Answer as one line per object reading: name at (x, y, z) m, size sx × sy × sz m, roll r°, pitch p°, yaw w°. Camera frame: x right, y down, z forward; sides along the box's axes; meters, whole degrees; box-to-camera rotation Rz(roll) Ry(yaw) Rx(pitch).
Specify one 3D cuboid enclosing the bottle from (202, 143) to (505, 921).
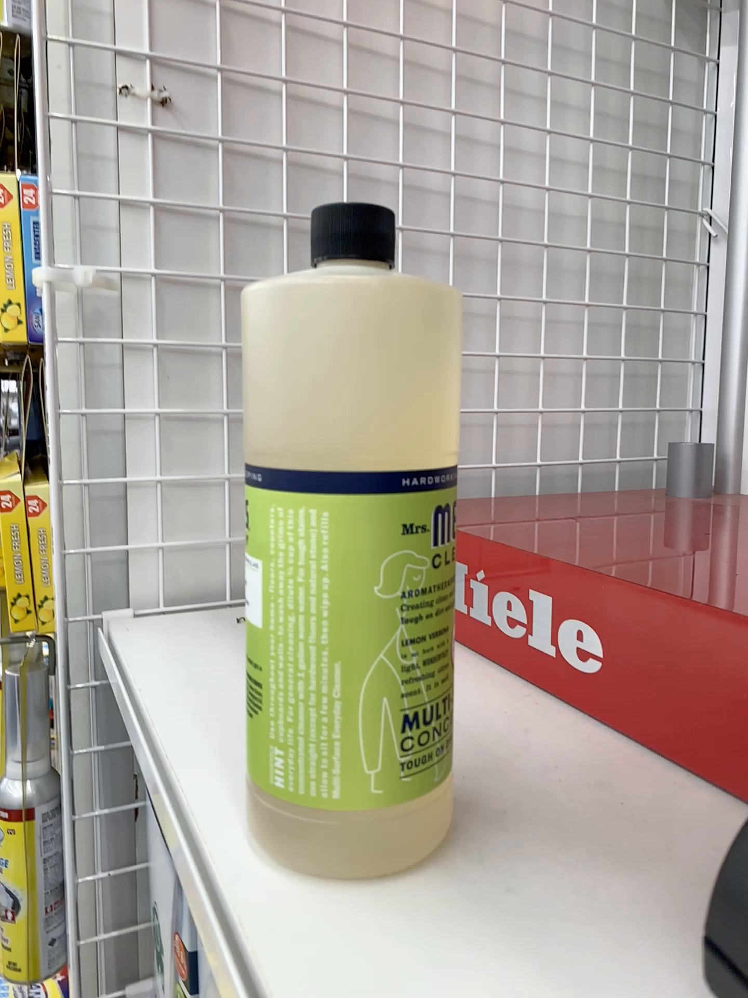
bottle at (-0.001, 0.010, 0.288) m, size 0.090 × 0.240 × 0.090 m, roll 0°, pitch 6°, yaw 0°
